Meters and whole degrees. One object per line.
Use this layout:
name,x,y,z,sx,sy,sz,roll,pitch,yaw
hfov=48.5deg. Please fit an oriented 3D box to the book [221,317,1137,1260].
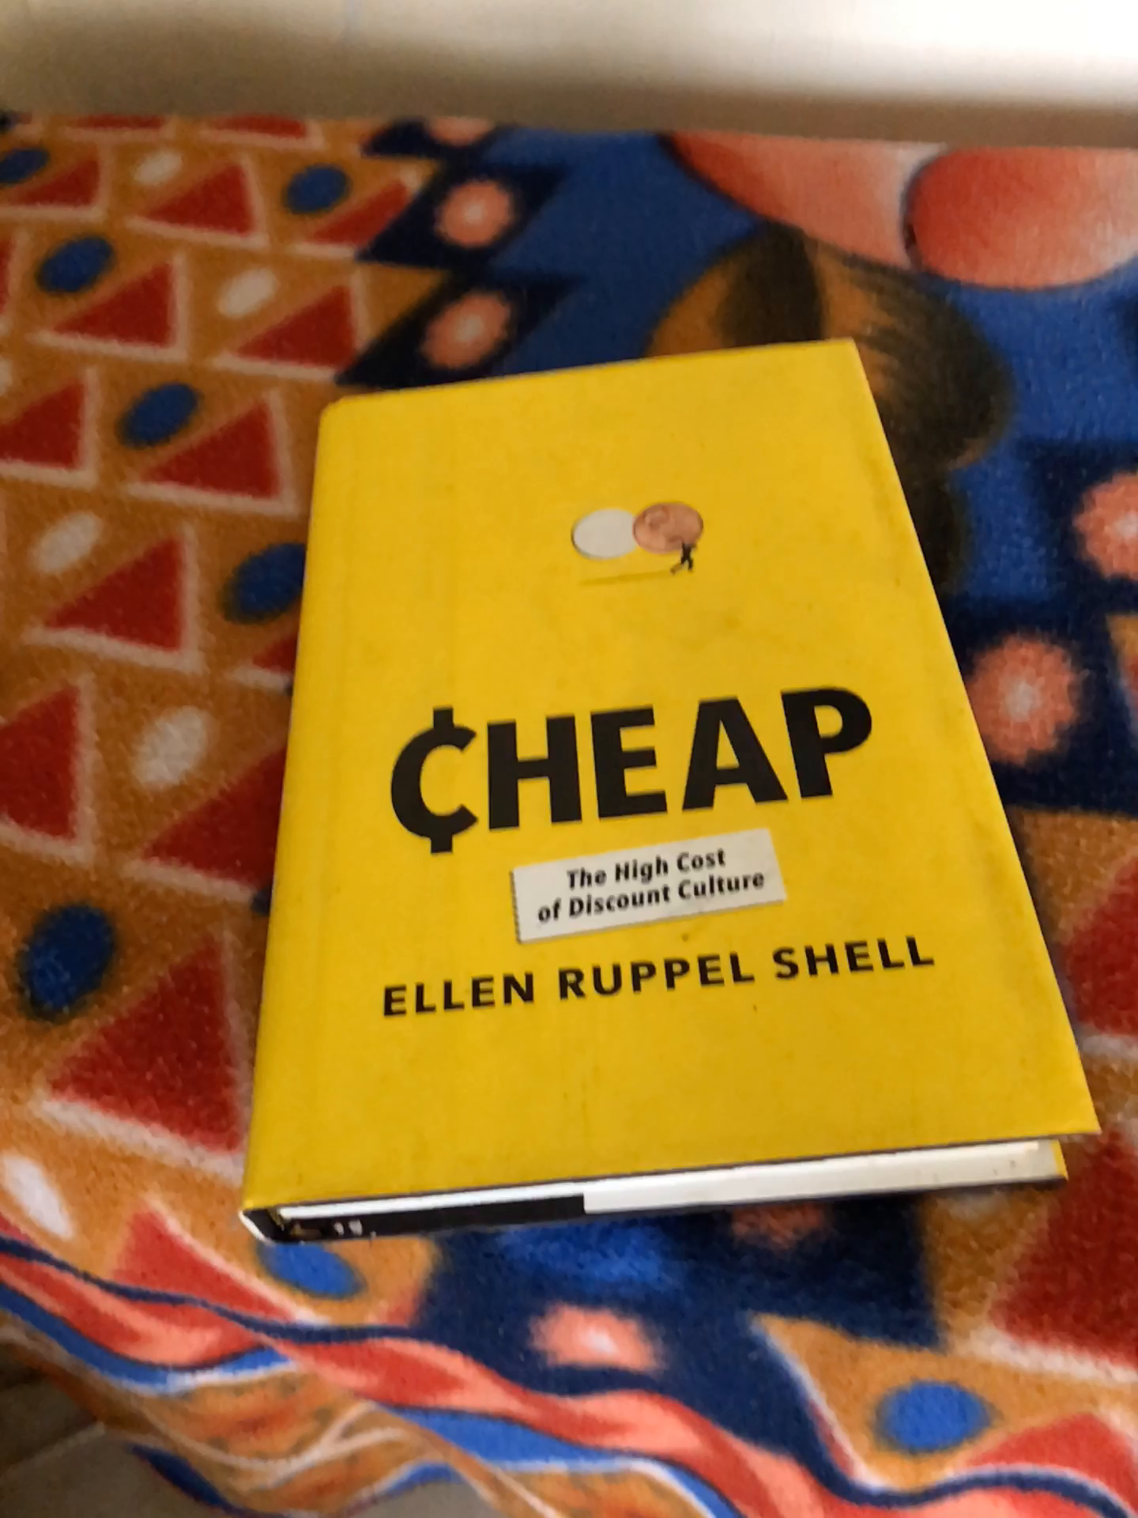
book,0.017,-0.015,0.306,0.170,0.030,0.241,-5,53,1
